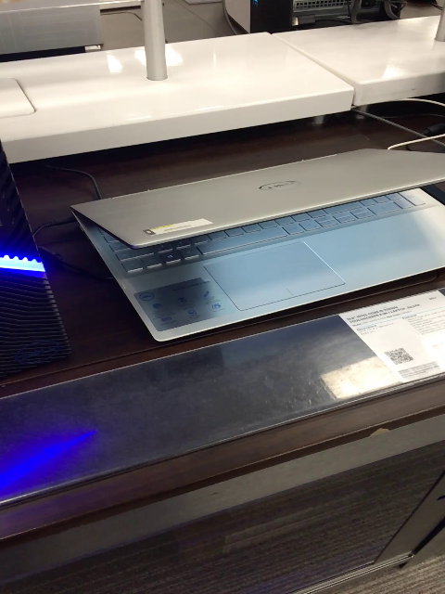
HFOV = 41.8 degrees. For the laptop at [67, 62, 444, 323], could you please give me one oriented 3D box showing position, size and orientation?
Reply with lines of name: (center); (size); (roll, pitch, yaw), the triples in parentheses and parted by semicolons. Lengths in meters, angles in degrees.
laptop: (0.085, -0.124, 0.606); (0.399, 0.109, 0.223); (-16, 48, -14)
